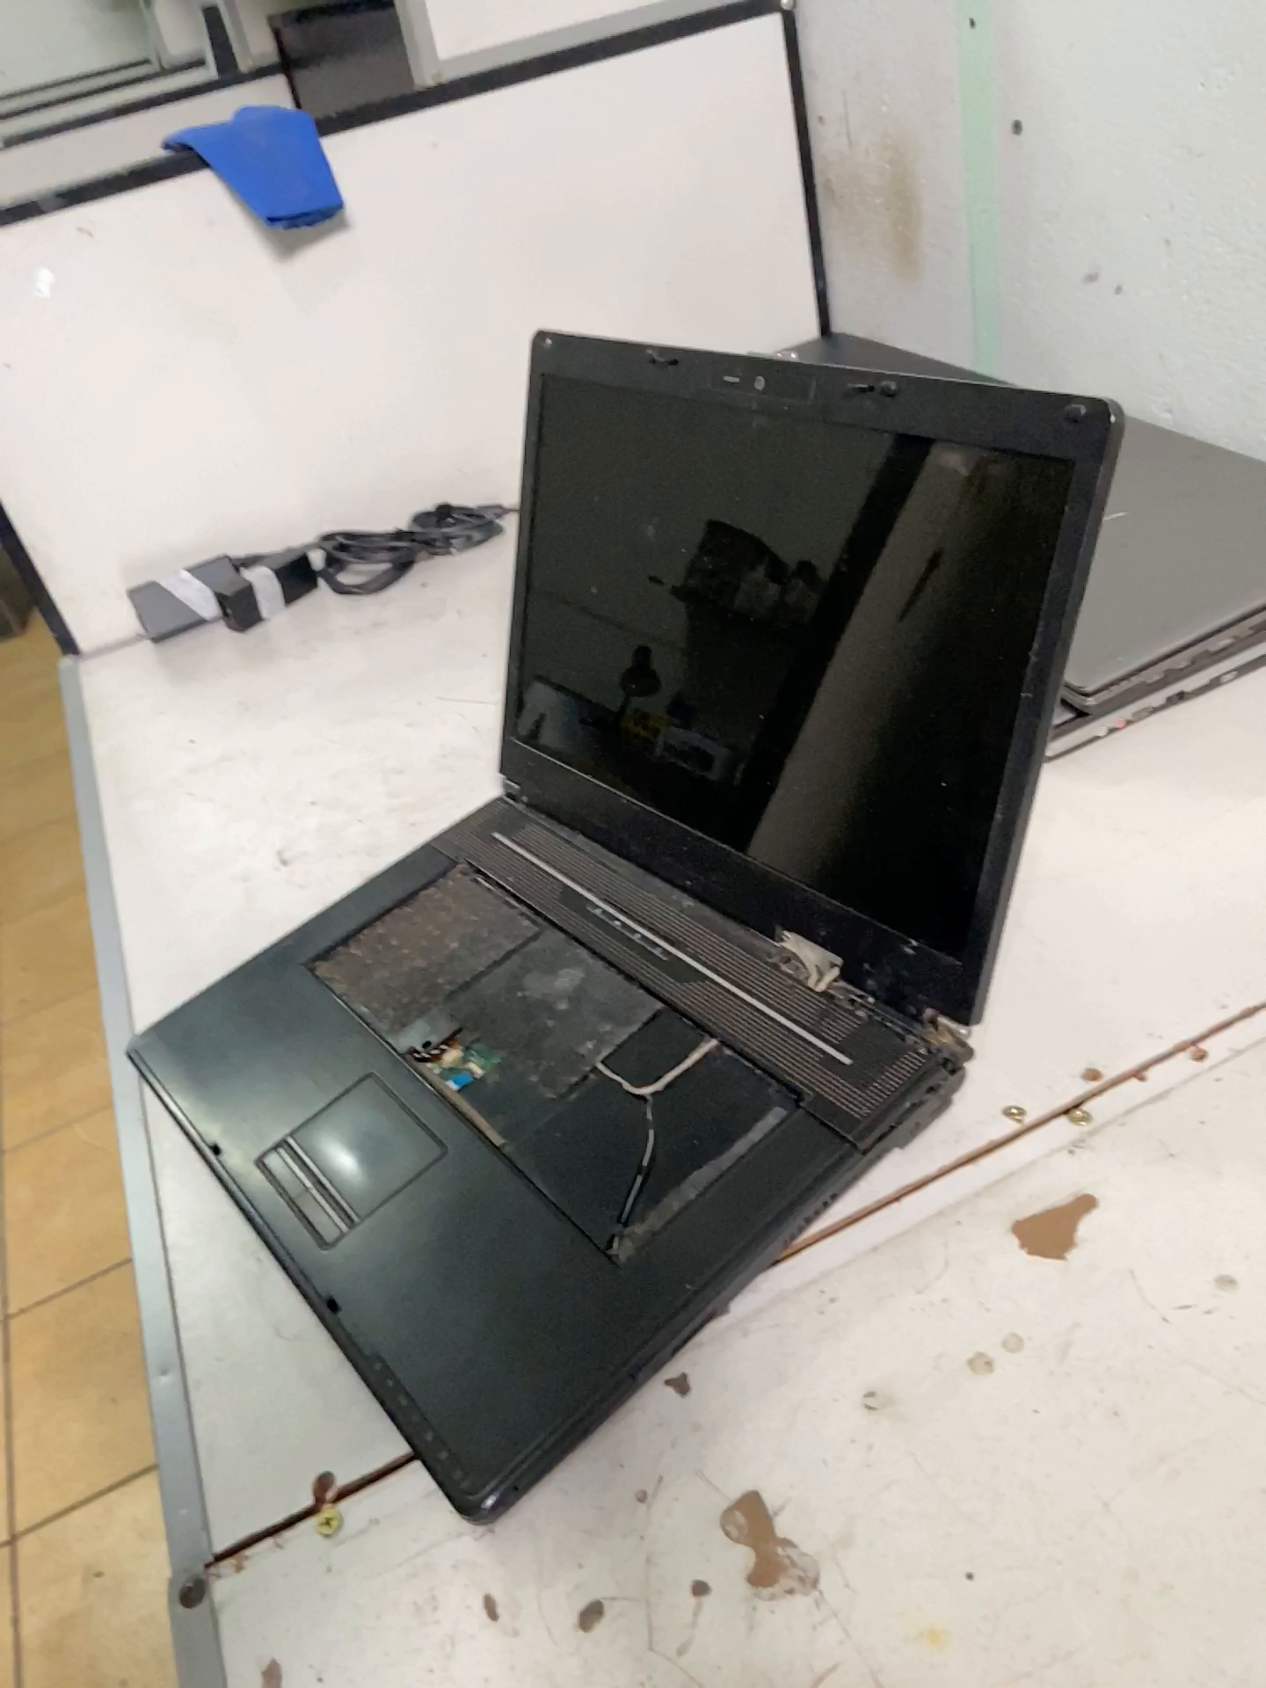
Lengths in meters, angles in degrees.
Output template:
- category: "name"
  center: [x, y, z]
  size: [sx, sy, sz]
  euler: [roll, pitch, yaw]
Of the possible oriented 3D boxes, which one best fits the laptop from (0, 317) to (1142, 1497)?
- category: "laptop"
  center: [-0.049, -0.030, 0.571]
  size: [0.380, 0.235, 0.345]
  euler: [-35, 39, -23]
